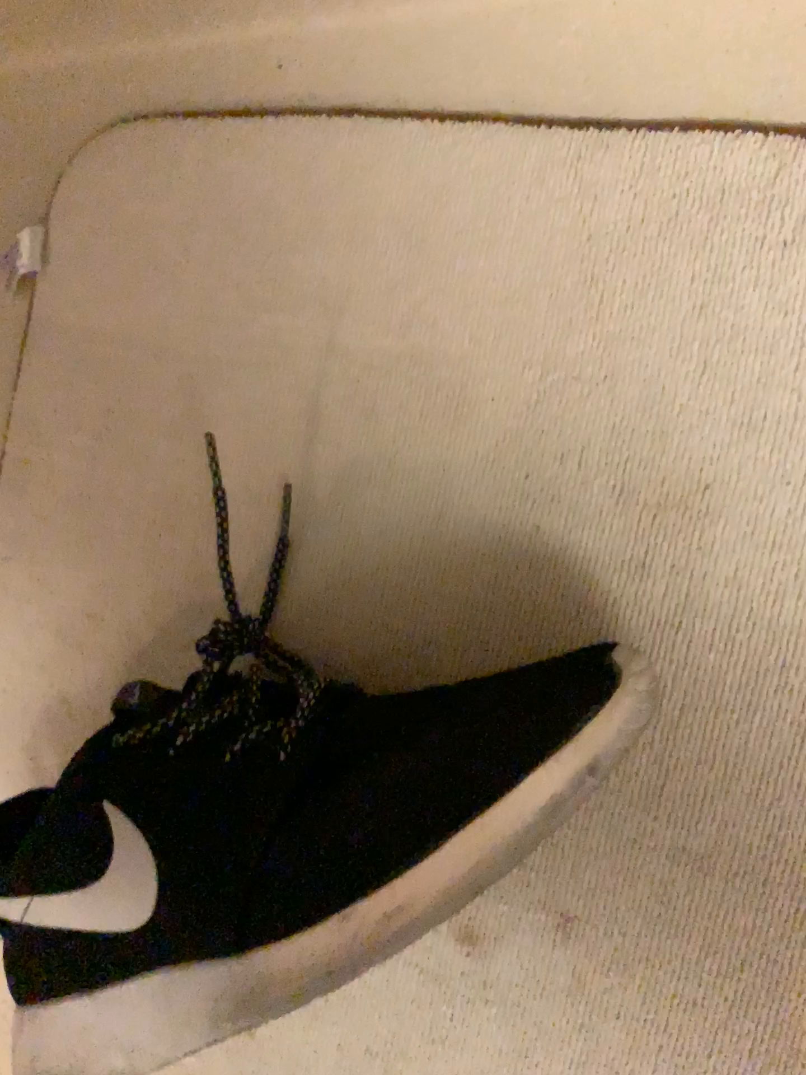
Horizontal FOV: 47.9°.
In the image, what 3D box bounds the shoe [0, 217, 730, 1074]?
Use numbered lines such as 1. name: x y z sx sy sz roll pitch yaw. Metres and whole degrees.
1. shoe: -0.066 0.067 0.304 0.270 0.100 0.180 -36 75 18
